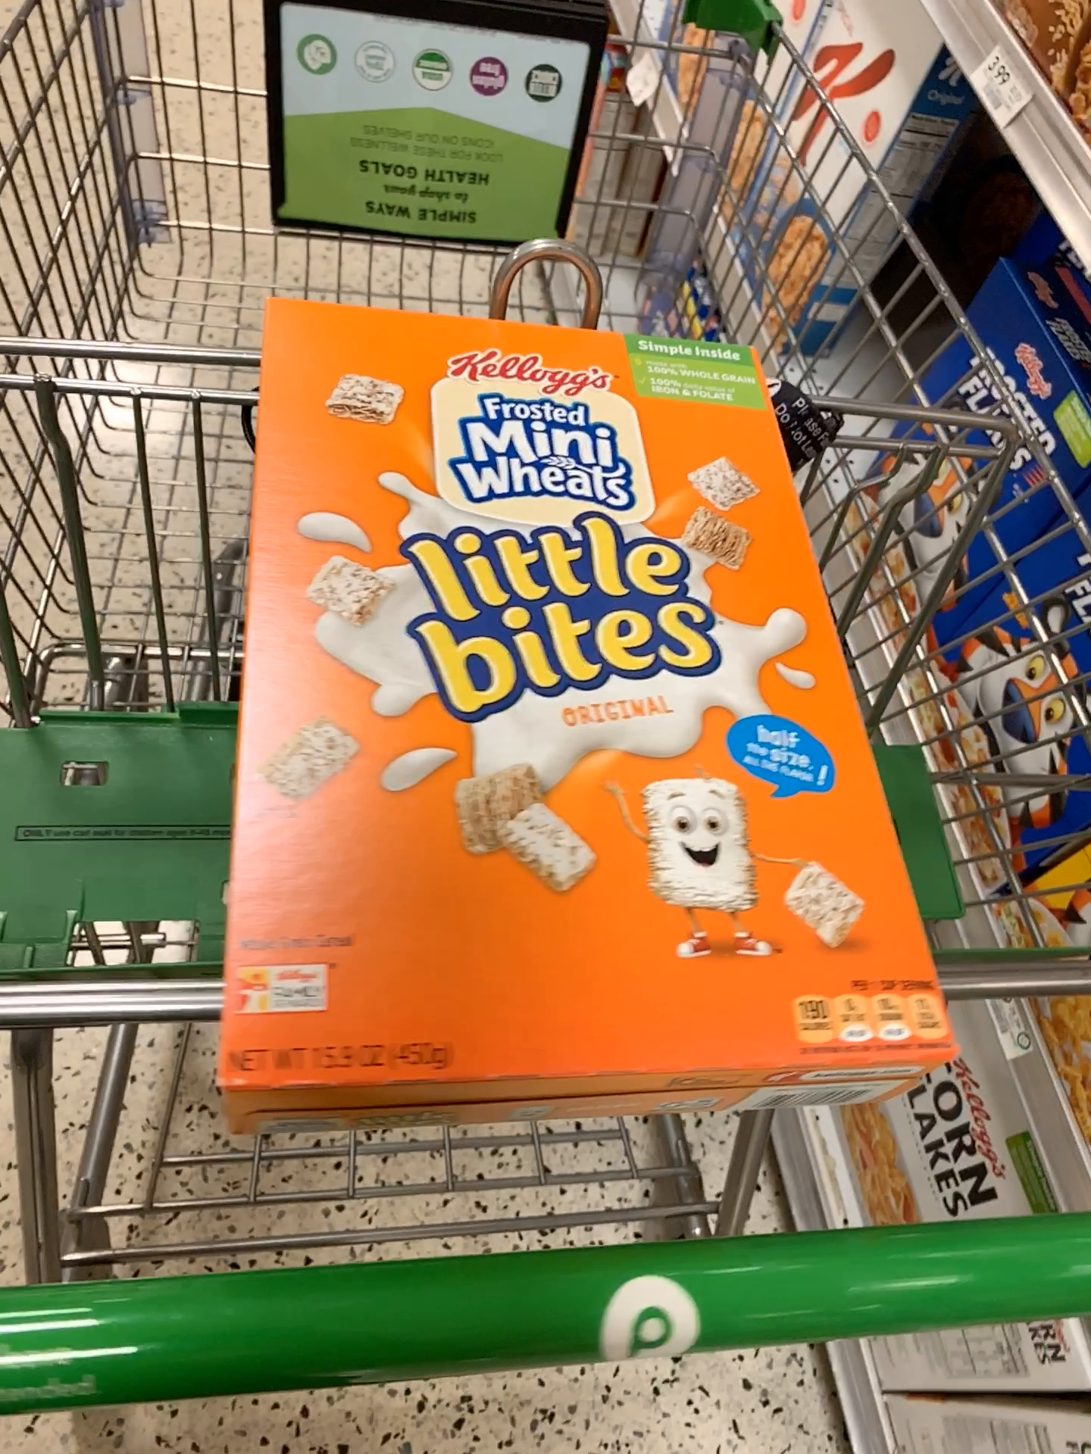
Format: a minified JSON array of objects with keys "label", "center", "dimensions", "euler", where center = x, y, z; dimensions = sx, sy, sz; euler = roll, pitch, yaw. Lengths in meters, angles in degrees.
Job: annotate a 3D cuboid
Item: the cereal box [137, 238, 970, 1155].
[{"label":"cereal box","center":[-0.011,-0.033,0.388],"dimensions":[0.210,0.060,0.322],"euler":[1,56,-13]}]
